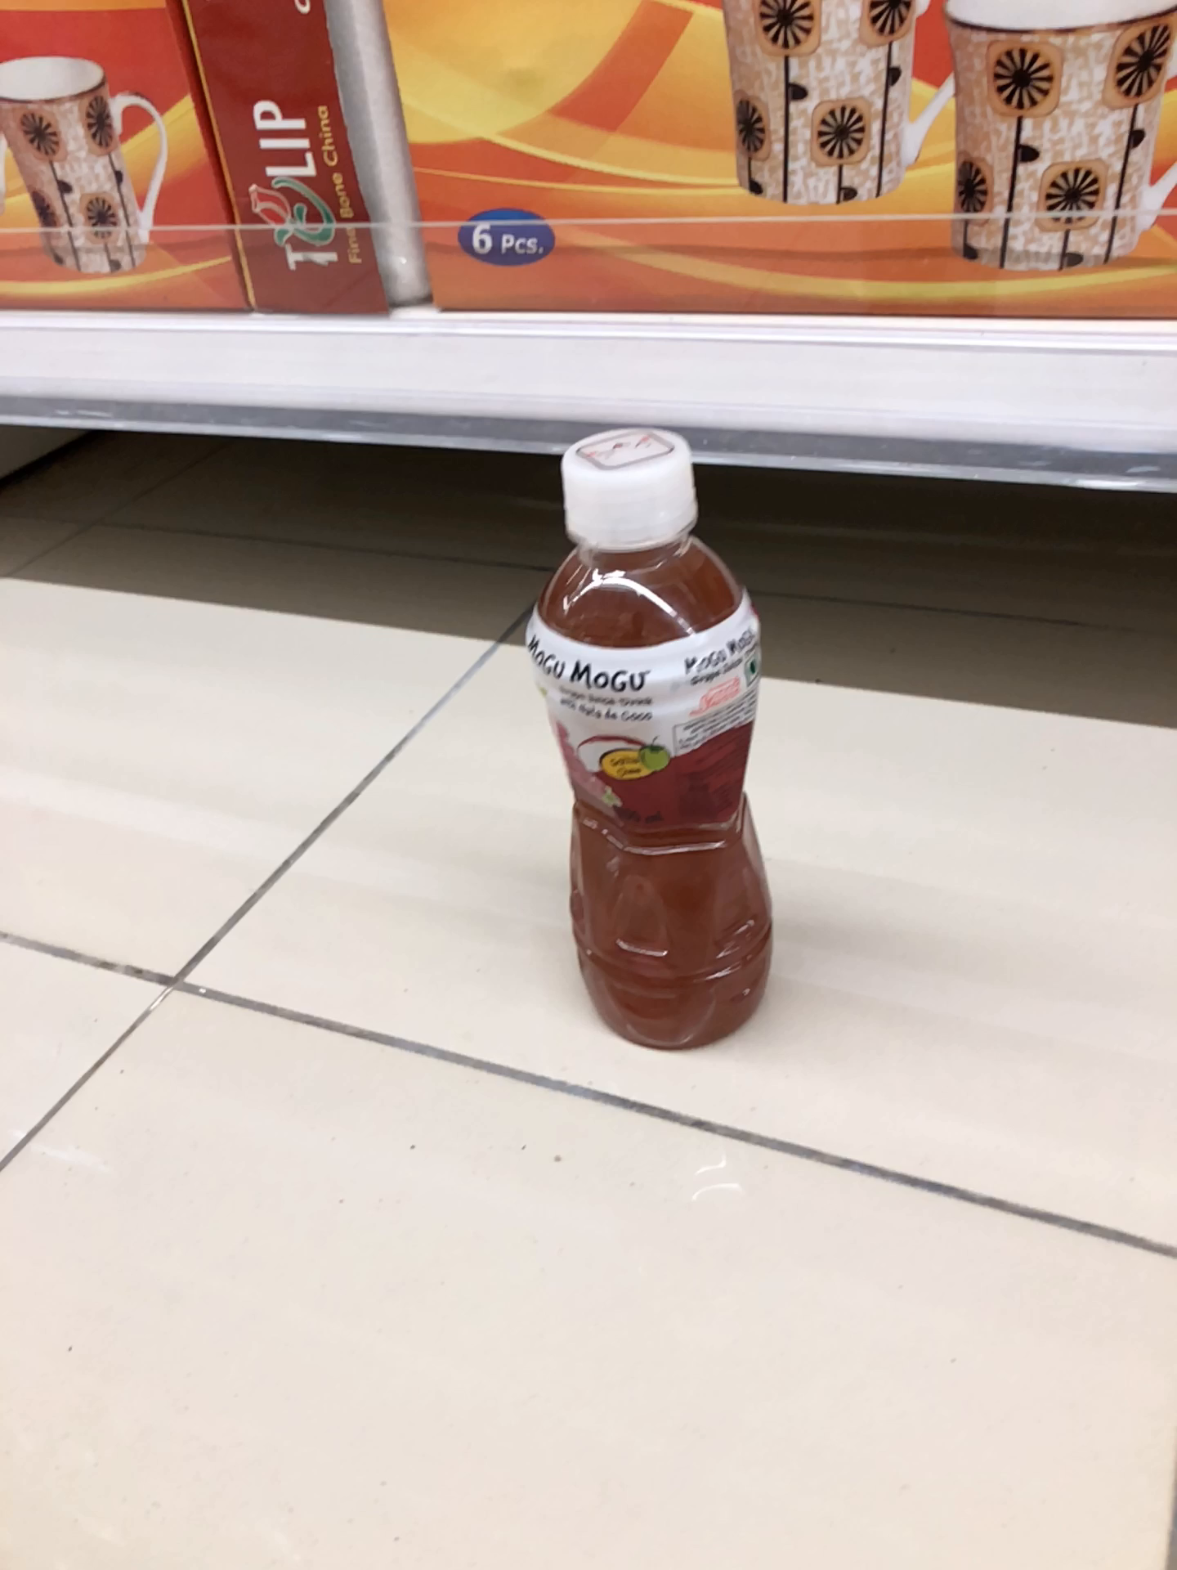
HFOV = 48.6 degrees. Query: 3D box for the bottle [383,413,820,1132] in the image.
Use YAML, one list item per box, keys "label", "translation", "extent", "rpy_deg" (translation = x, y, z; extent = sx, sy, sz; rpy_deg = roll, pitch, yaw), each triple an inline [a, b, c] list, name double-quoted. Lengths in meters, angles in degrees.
- label: "bottle"
  translation: [0.010, -0.003, 0.340]
  extent: [0.070, 0.159, 0.070]
  rpy_deg: [-5, 33, 3]
